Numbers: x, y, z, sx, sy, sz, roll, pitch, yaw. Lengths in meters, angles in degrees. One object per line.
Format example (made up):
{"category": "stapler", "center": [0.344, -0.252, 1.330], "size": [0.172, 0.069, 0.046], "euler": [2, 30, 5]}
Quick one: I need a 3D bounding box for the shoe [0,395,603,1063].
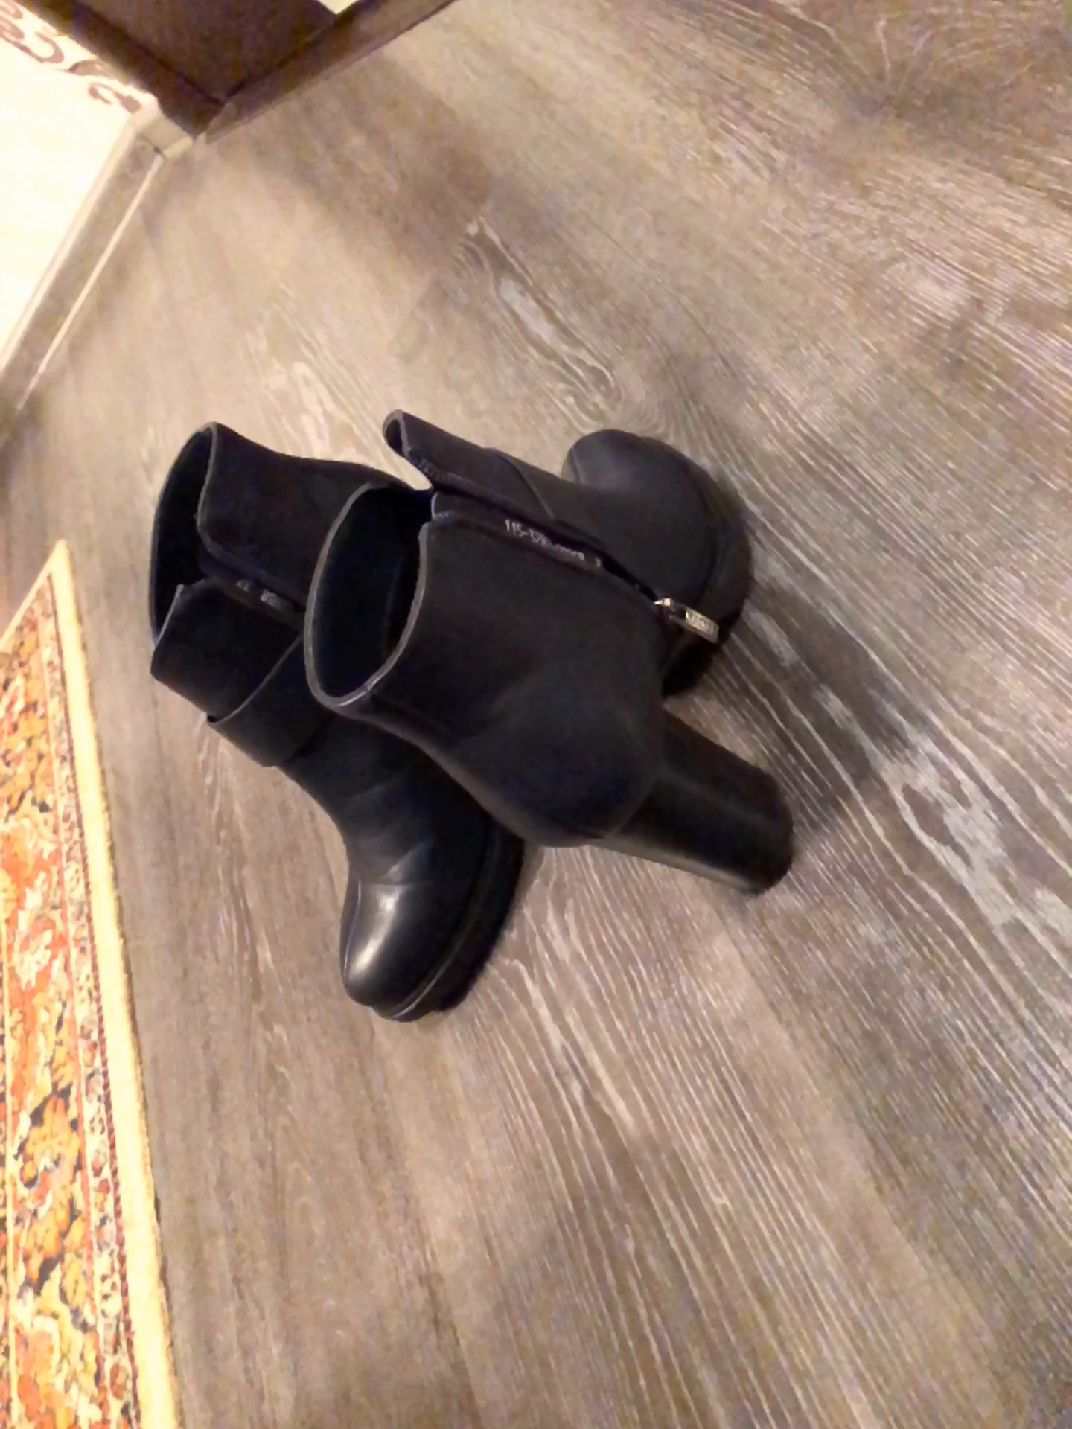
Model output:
{"category": "shoe", "center": [-0.095, 0.015, 0.492], "size": [0.090, 0.189, 0.210], "euler": [1, 72, 51]}

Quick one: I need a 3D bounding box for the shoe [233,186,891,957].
{"category": "shoe", "center": [0.000, -0.046, 0.423], "size": [0.090, 0.189, 0.211], "euler": [-40, 44, 31]}
